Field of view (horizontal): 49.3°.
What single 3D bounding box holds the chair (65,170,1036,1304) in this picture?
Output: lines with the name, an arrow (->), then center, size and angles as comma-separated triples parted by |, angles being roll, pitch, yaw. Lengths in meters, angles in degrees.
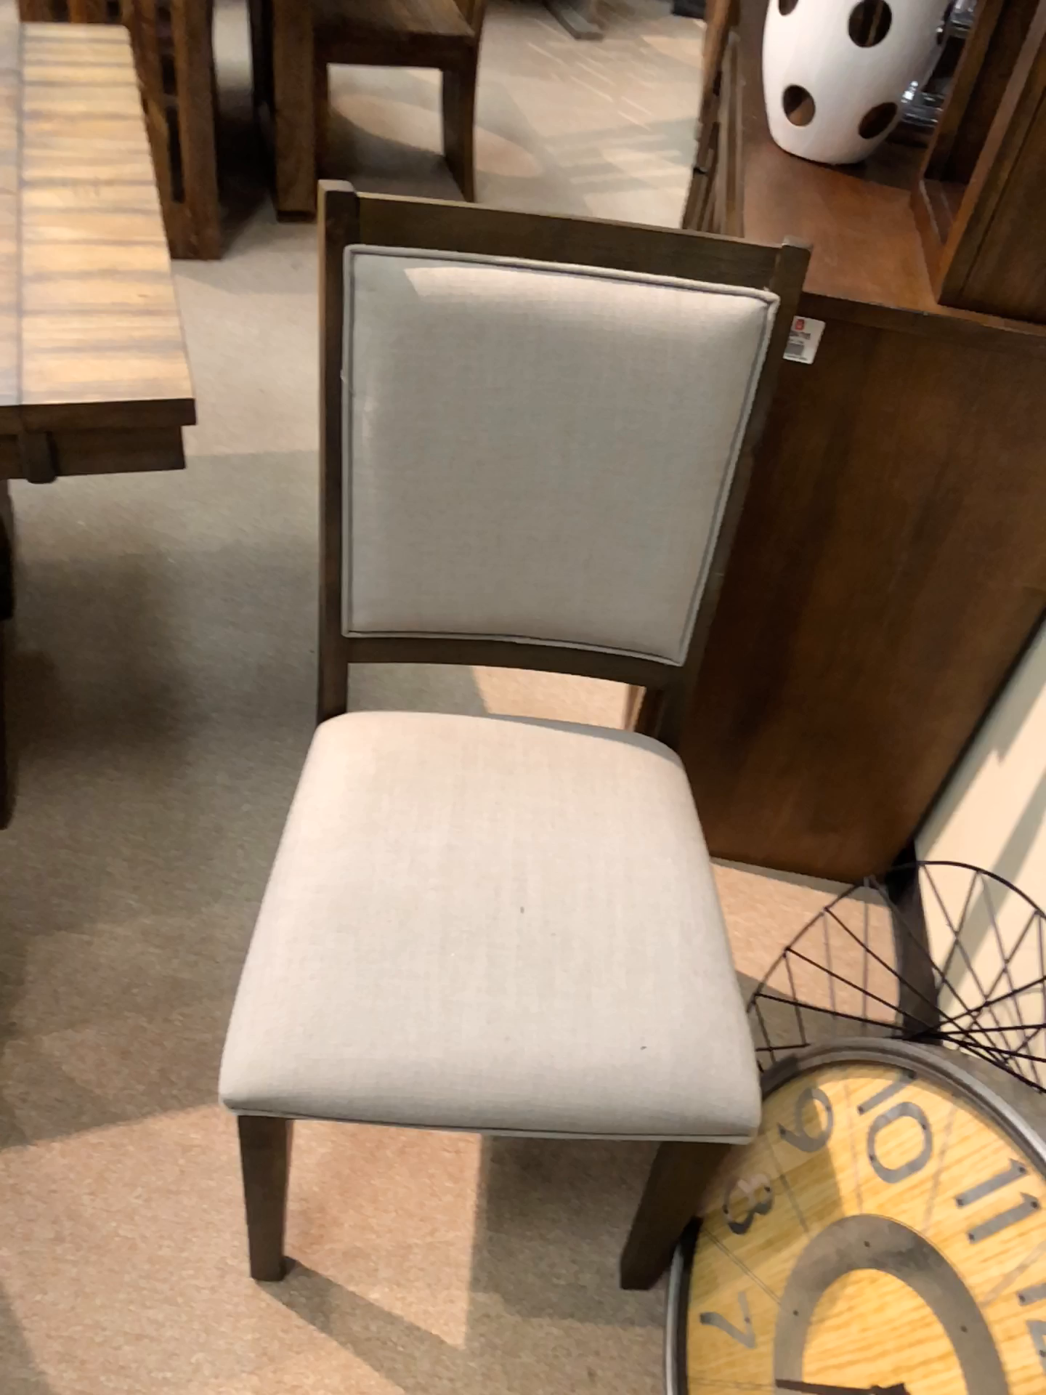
chair -> -0.038, 0.118, 1.032 | 0.460, 0.923, 0.494 | 5, 44, -5
